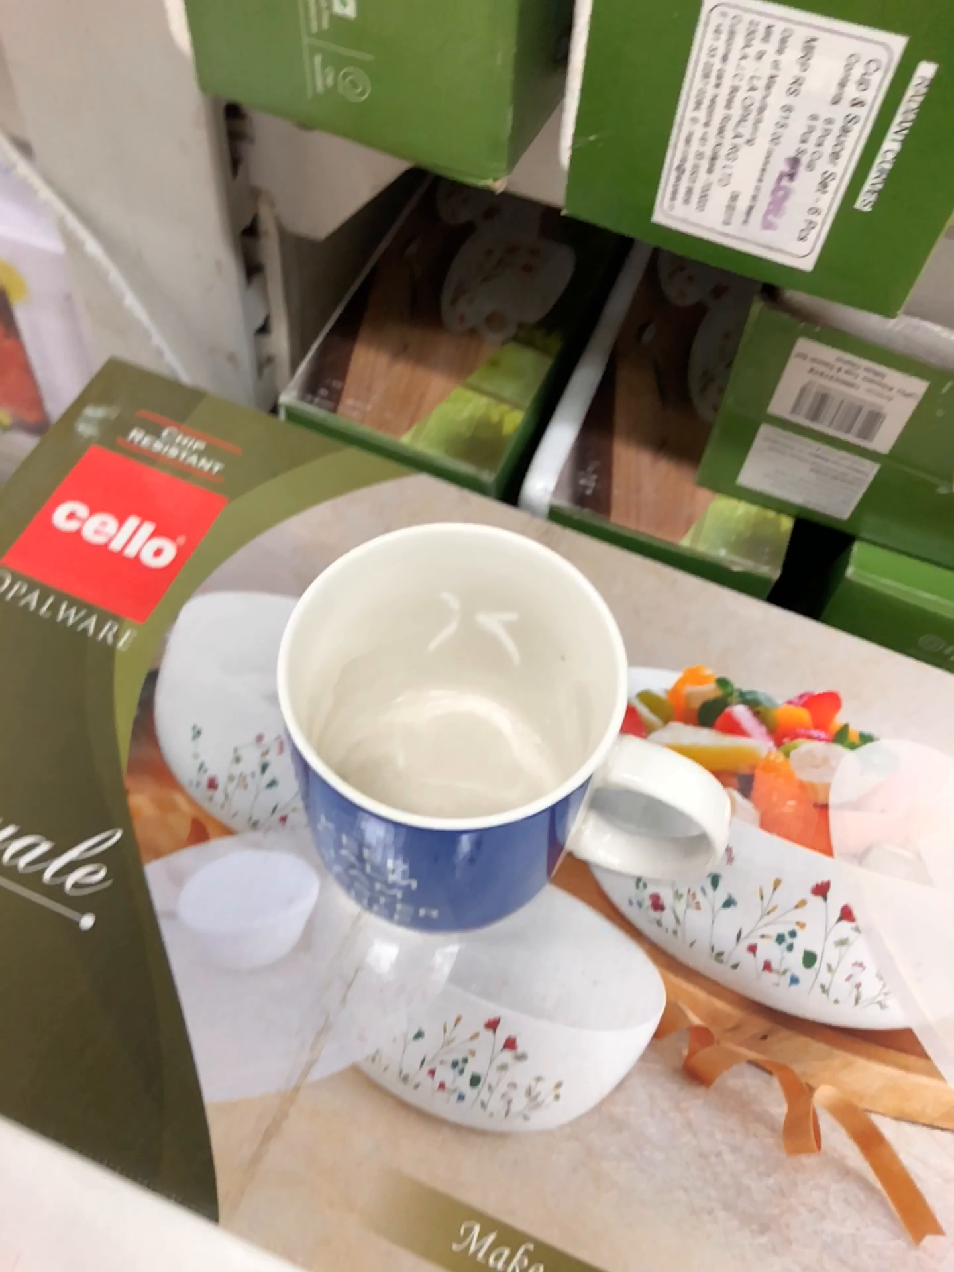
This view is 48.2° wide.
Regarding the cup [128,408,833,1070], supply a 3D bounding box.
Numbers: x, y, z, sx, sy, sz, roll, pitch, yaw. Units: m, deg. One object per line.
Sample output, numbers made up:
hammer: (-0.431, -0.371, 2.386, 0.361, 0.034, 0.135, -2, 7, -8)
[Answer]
cup: (0.003, 0.031, 0.301, 0.140, 0.100, 0.110, 22, 59, 7)
